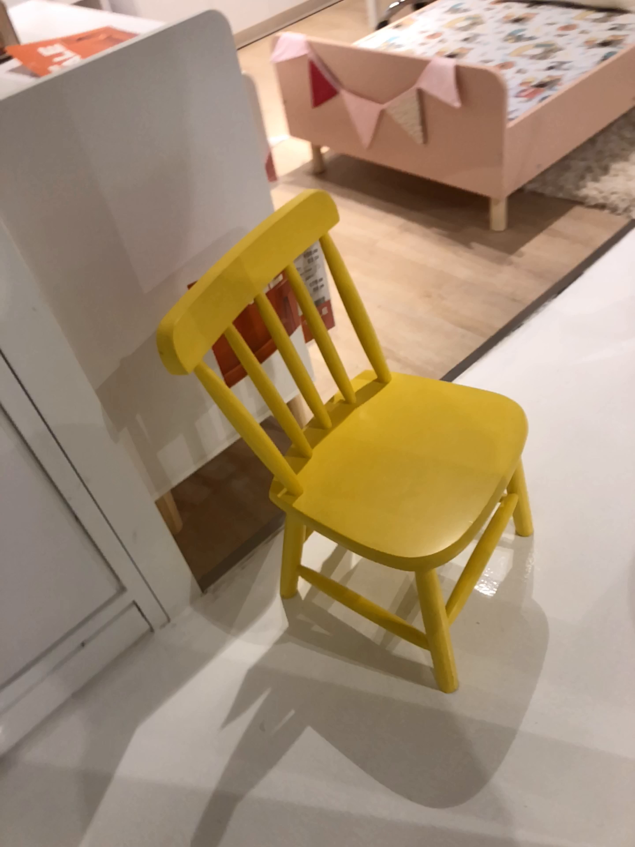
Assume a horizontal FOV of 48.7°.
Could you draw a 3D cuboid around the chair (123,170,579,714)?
[{"bbox_3d":[0.093,0.028,0.969,0.371,0.576,0.382,16,51,27],"label":"chair"}]
